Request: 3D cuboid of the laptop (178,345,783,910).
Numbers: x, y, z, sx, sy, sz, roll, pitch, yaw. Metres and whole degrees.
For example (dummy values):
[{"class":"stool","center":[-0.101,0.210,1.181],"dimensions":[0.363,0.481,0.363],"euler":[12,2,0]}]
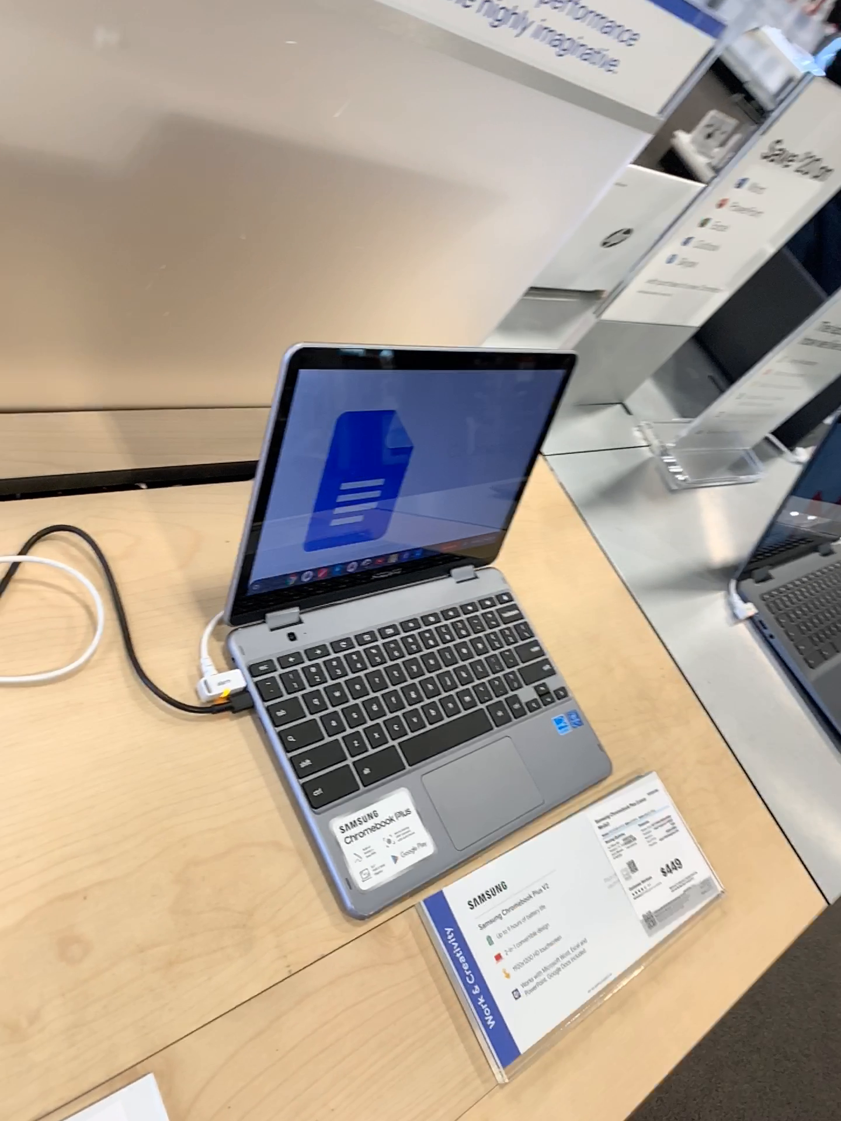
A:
[{"class":"laptop","center":[0.041,0.025,0.594],"dimensions":[0.275,0.183,0.275],"euler":[-13,67,-44]}]
